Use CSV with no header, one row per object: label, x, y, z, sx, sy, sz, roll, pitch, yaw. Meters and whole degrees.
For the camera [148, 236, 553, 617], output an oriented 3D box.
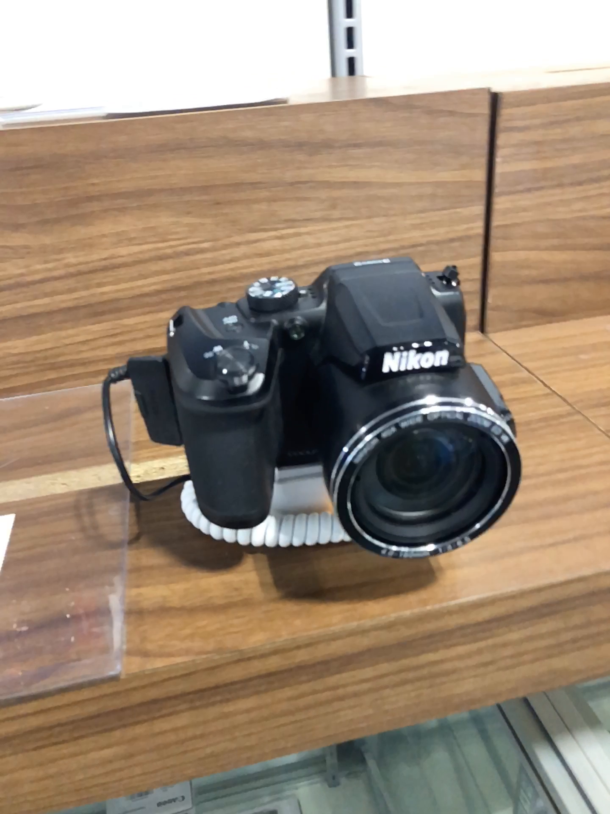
camera,0.007,-0.004,0.243,0.110,0.079,0.111,-9,27,-8
